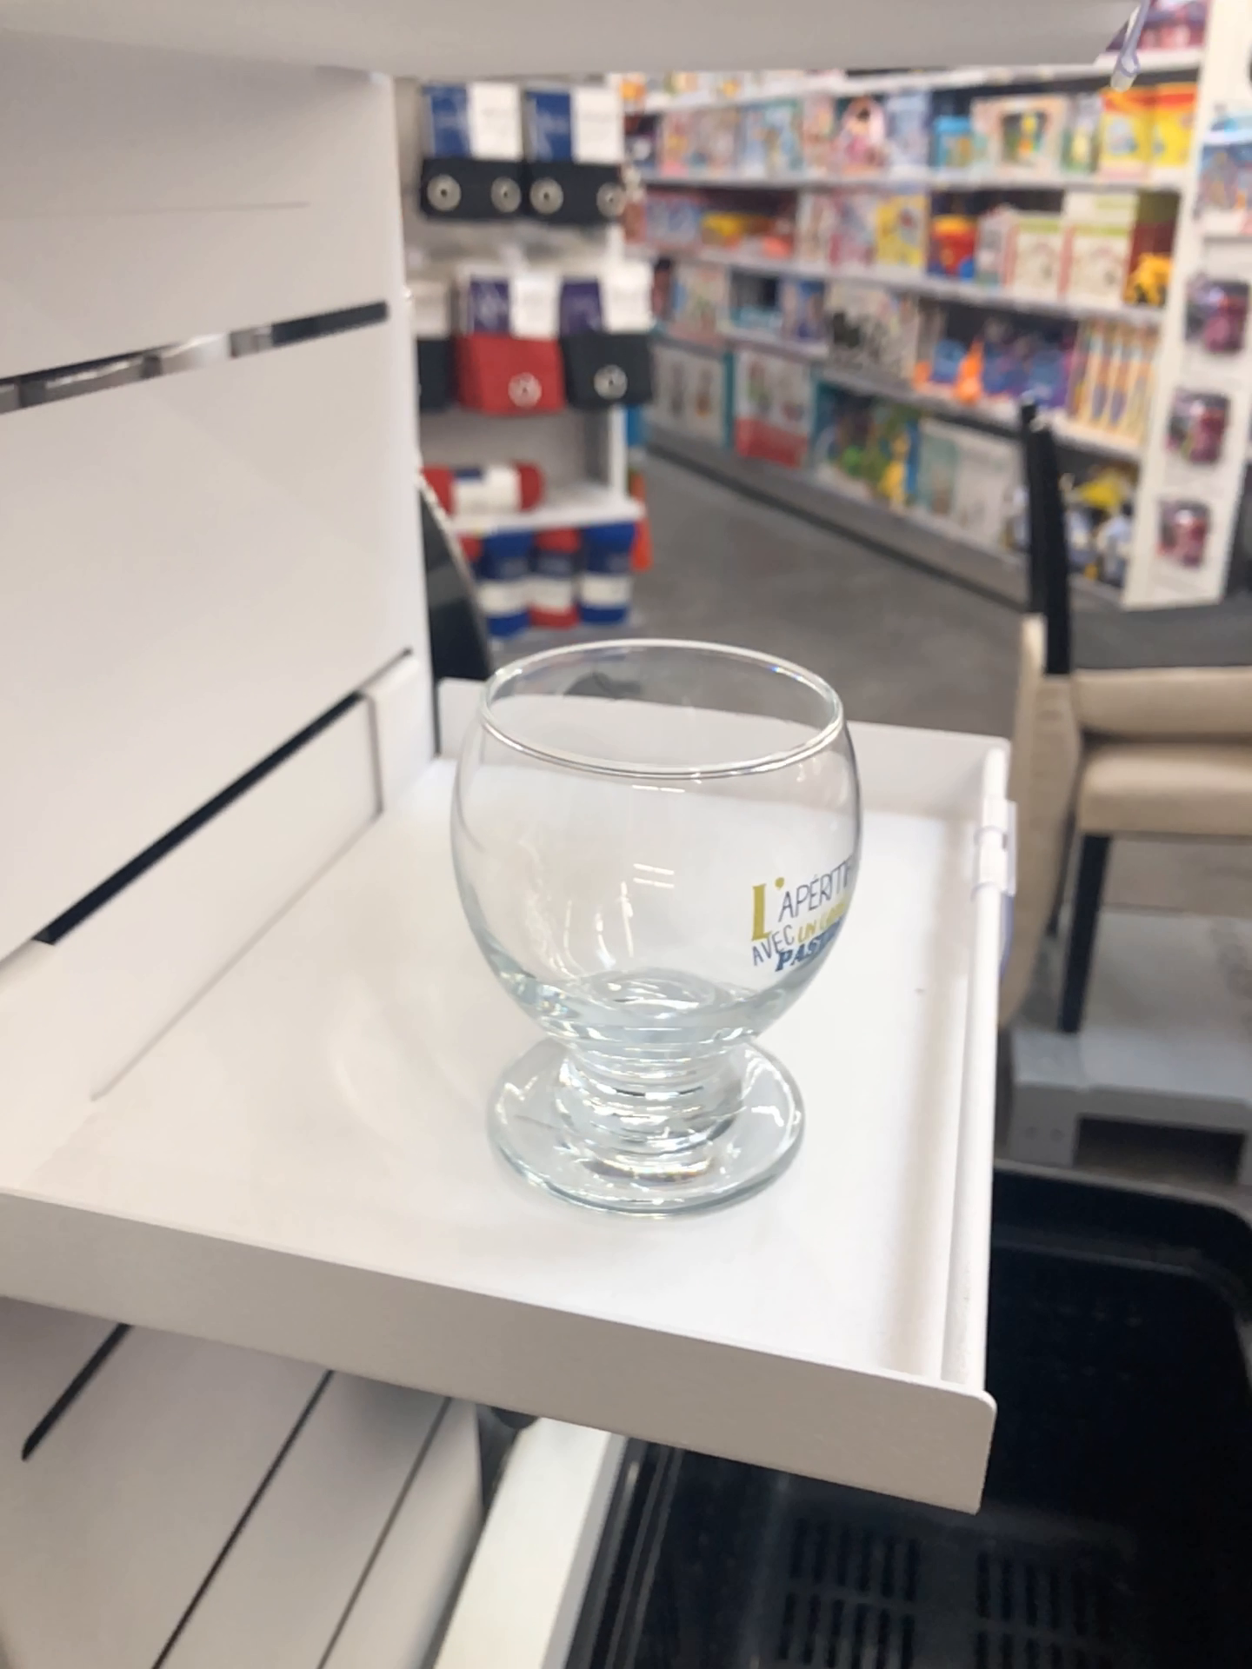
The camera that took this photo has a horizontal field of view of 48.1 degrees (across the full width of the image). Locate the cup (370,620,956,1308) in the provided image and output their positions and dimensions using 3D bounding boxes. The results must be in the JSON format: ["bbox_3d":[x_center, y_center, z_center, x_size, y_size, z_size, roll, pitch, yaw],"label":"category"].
[{"bbox_3d":[0.007,0.018,0.276,0.078,0.093,0.074,0,25,0],"label":"cup"}]
